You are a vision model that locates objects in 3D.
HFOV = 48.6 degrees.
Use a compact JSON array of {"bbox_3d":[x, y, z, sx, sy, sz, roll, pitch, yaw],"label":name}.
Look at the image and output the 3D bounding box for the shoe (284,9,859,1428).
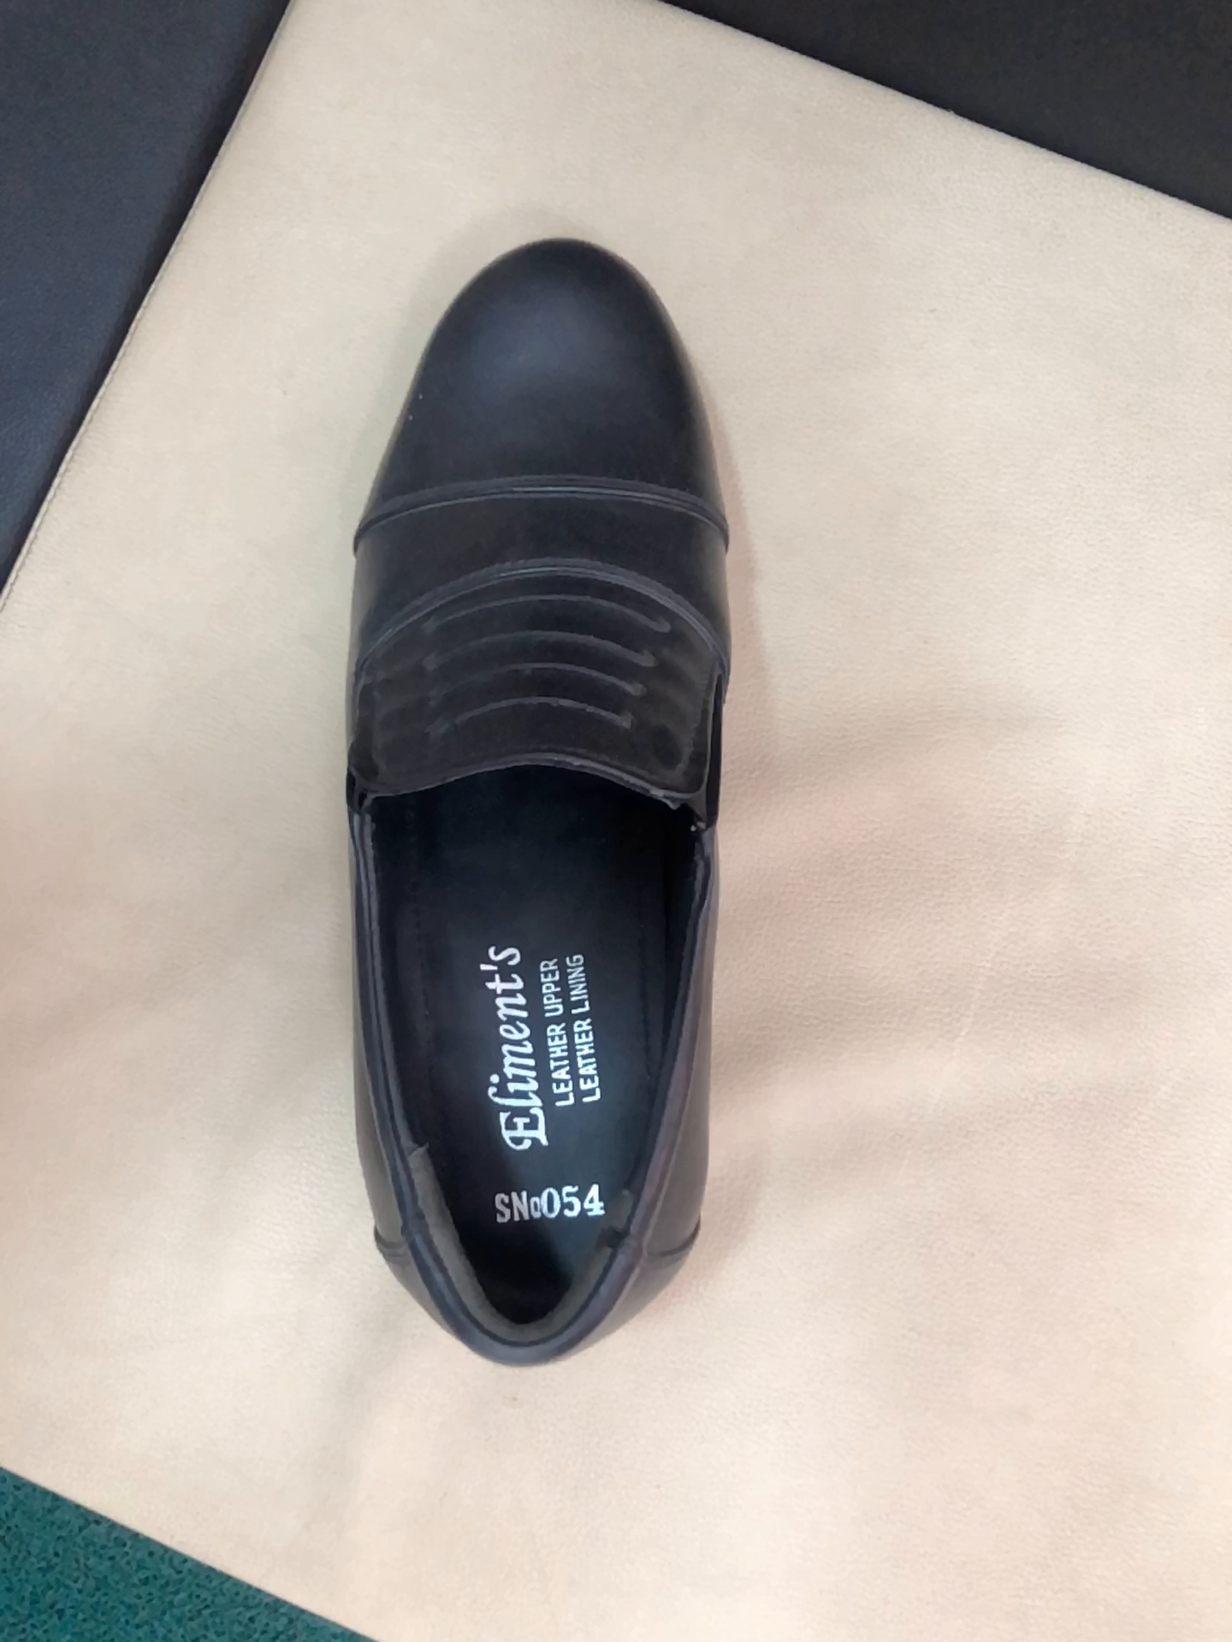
[{"bbox_3d":[-0.009,-0.020,0.322,0.100,0.120,0.270,-3,86,2],"label":"shoe"}]
